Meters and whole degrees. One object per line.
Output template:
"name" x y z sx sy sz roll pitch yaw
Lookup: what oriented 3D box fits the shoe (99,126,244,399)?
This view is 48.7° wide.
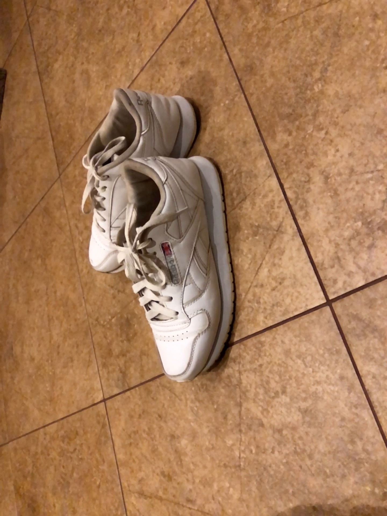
"shoe" -0.028 0.008 0.463 0.111 0.099 0.250 -9 81 46

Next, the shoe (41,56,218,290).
"shoe" -0.092 -0.092 0.540 0.100 0.099 0.260 49 121 37
